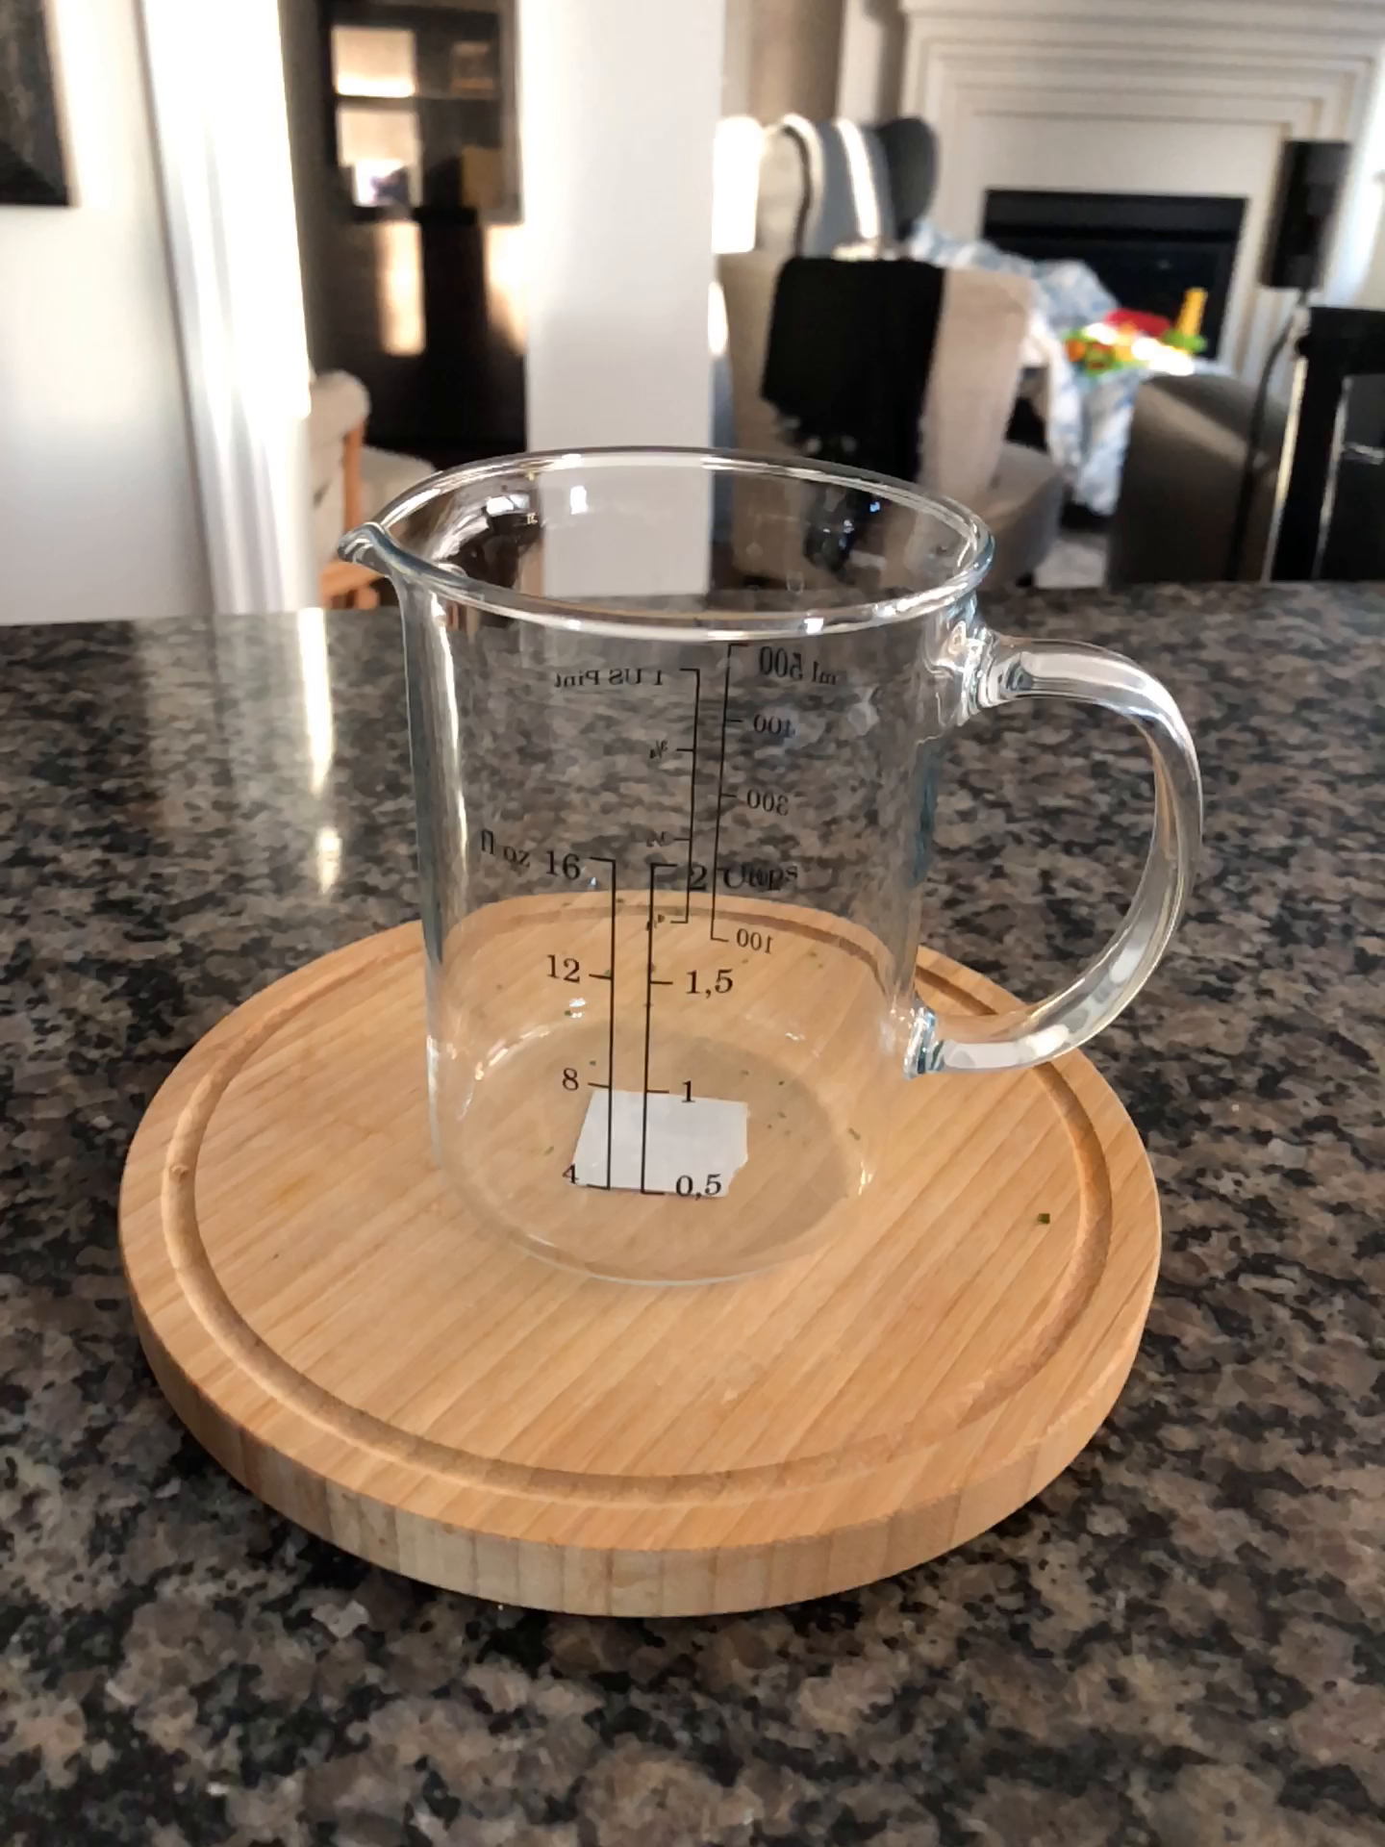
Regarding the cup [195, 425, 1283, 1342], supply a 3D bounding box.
[{"bbox_3d":[0.007,-0.013,0.290,0.150,0.128,0.106,4,29,3],"label":"cup"}]
